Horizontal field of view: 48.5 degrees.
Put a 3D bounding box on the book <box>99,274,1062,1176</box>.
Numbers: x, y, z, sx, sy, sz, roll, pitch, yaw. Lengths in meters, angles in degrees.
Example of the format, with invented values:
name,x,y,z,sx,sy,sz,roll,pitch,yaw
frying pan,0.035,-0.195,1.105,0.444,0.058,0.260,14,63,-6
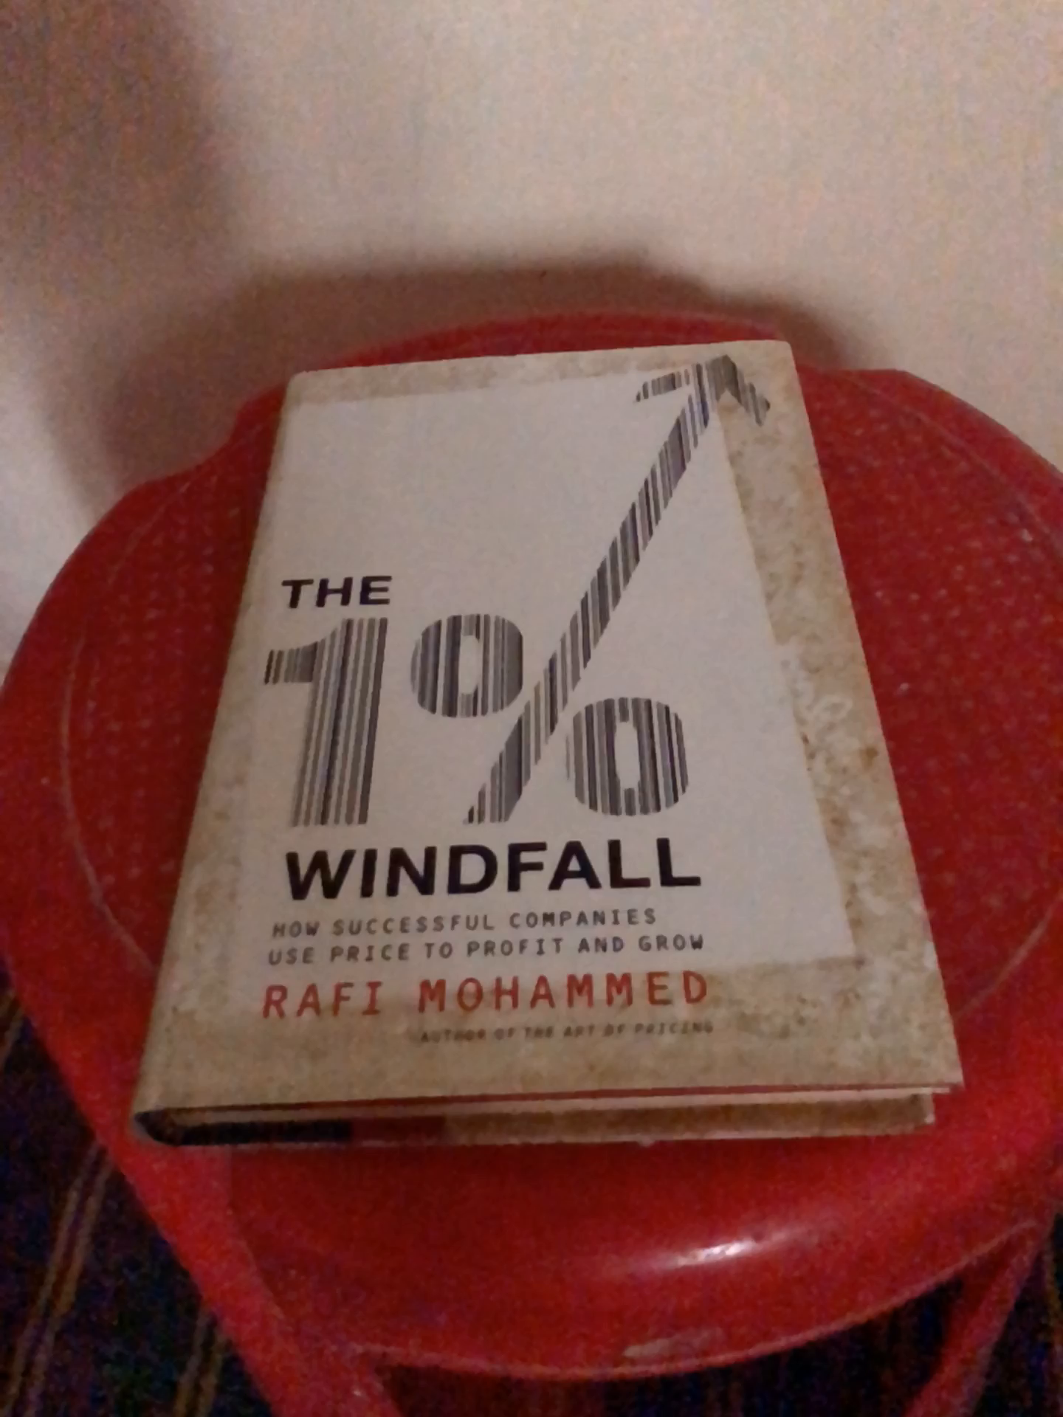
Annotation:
name,x,y,z,sx,sy,sz,roll,pitch,yaw
book,0.011,-0.019,0.310,0.180,0.040,0.261,-3,51,3
